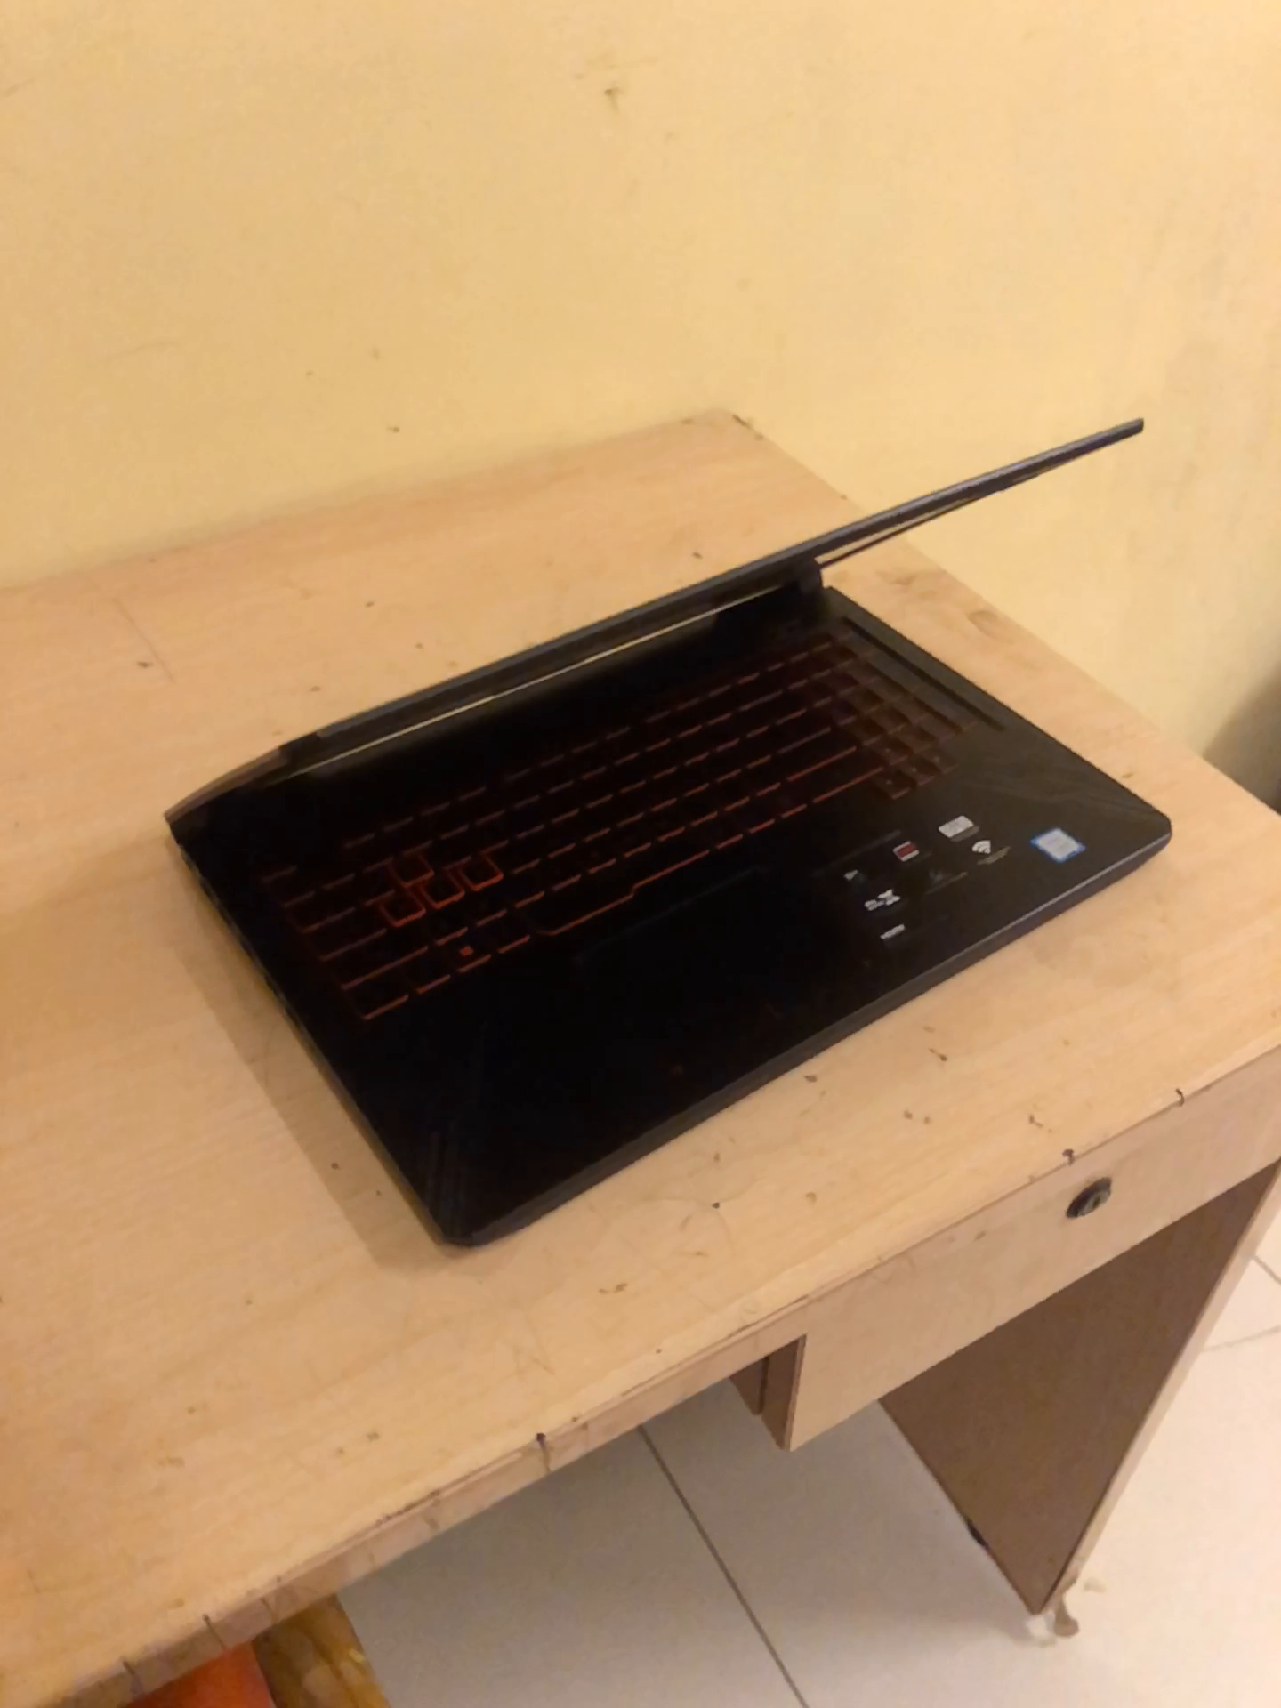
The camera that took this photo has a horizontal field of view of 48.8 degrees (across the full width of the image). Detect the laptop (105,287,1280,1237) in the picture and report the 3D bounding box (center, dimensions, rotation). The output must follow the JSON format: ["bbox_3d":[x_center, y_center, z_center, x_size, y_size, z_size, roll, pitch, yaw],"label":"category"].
[{"bbox_3d":[0.022,-0.072,0.590,0.371,0.173,0.252,-25,48,-26],"label":"laptop"}]
